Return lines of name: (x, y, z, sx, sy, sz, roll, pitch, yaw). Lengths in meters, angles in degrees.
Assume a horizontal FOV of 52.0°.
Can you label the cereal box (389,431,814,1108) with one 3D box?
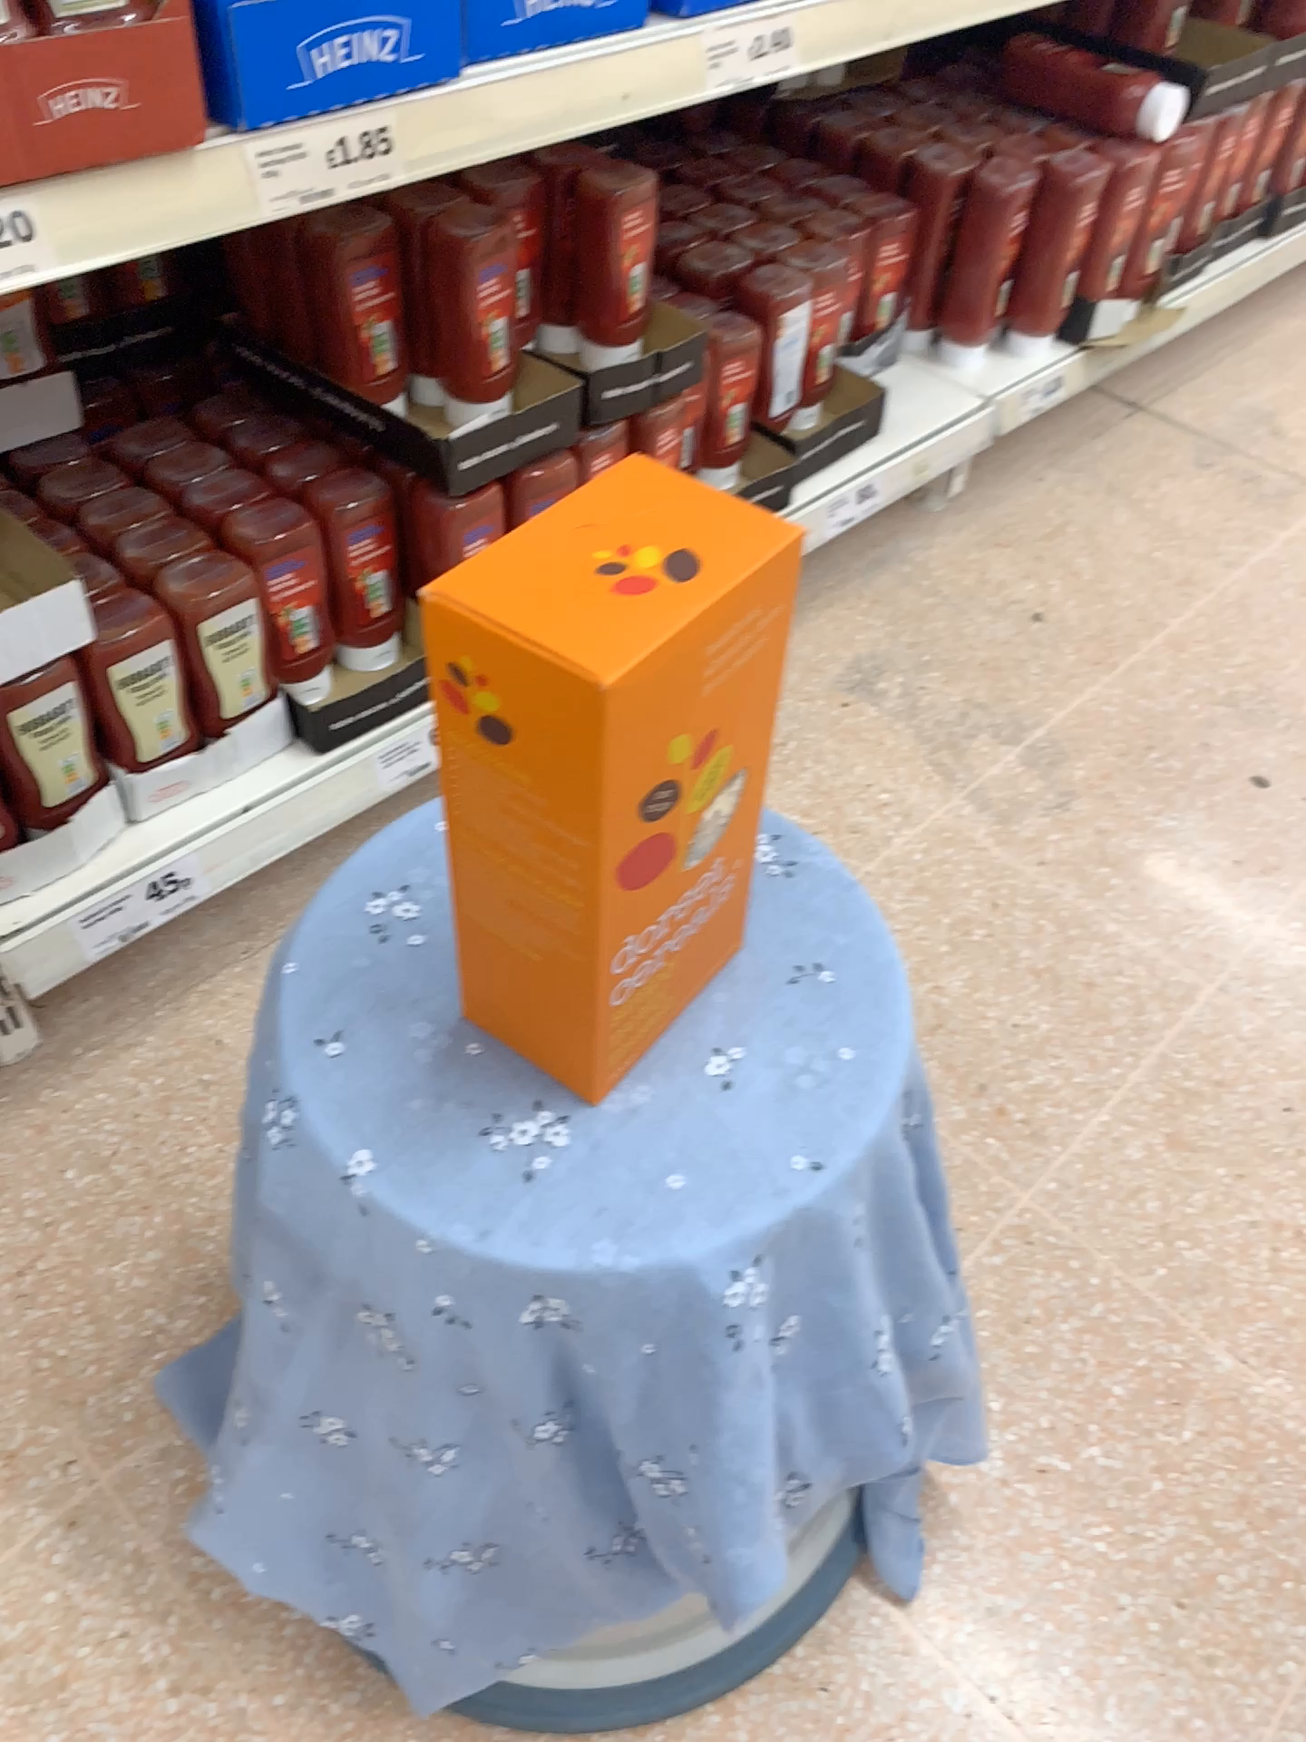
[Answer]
cereal box: (-0.021, -0.033, 0.536, 0.090, 0.228, 0.121, 29, 51, 22)
